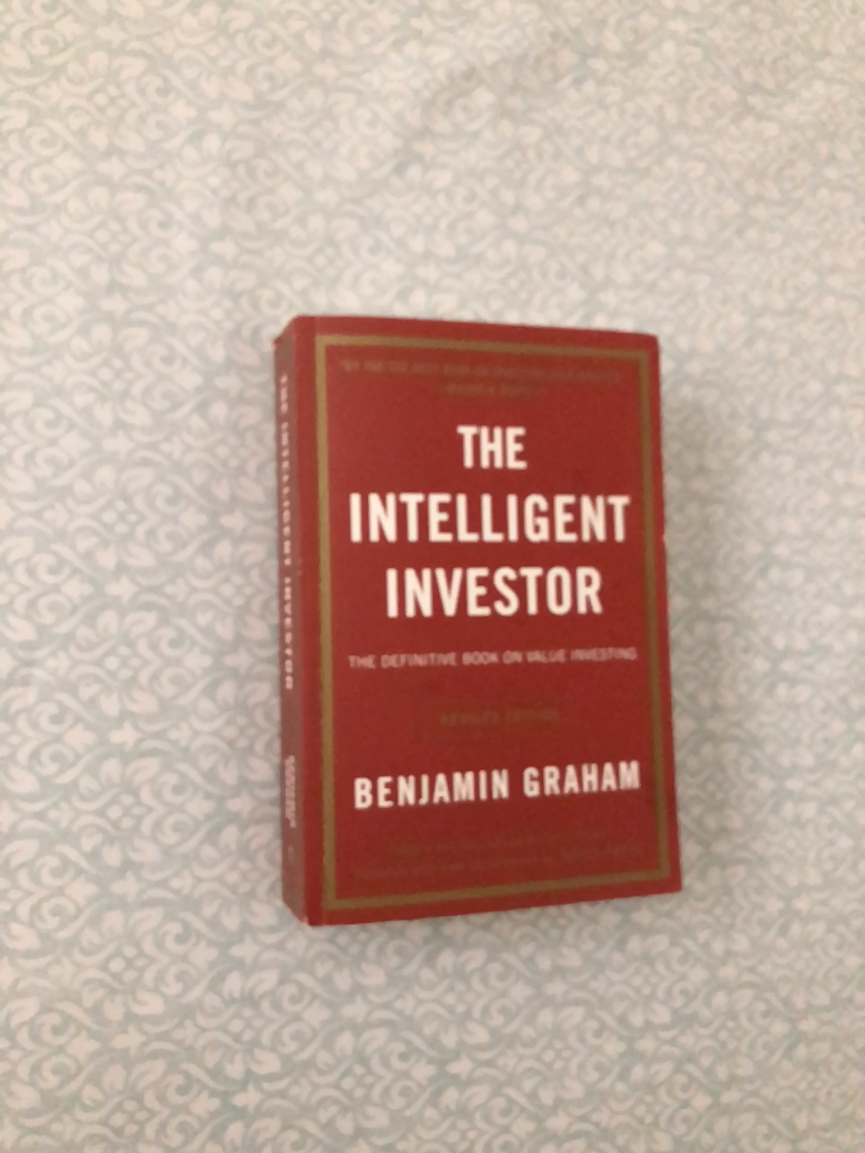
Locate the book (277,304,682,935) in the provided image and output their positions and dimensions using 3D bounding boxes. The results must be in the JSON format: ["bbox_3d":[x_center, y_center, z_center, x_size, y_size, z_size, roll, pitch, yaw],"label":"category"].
[{"bbox_3d":[0.014,0.012,0.349,0.130,0.050,0.200,-1,87,-15],"label":"book"}]
